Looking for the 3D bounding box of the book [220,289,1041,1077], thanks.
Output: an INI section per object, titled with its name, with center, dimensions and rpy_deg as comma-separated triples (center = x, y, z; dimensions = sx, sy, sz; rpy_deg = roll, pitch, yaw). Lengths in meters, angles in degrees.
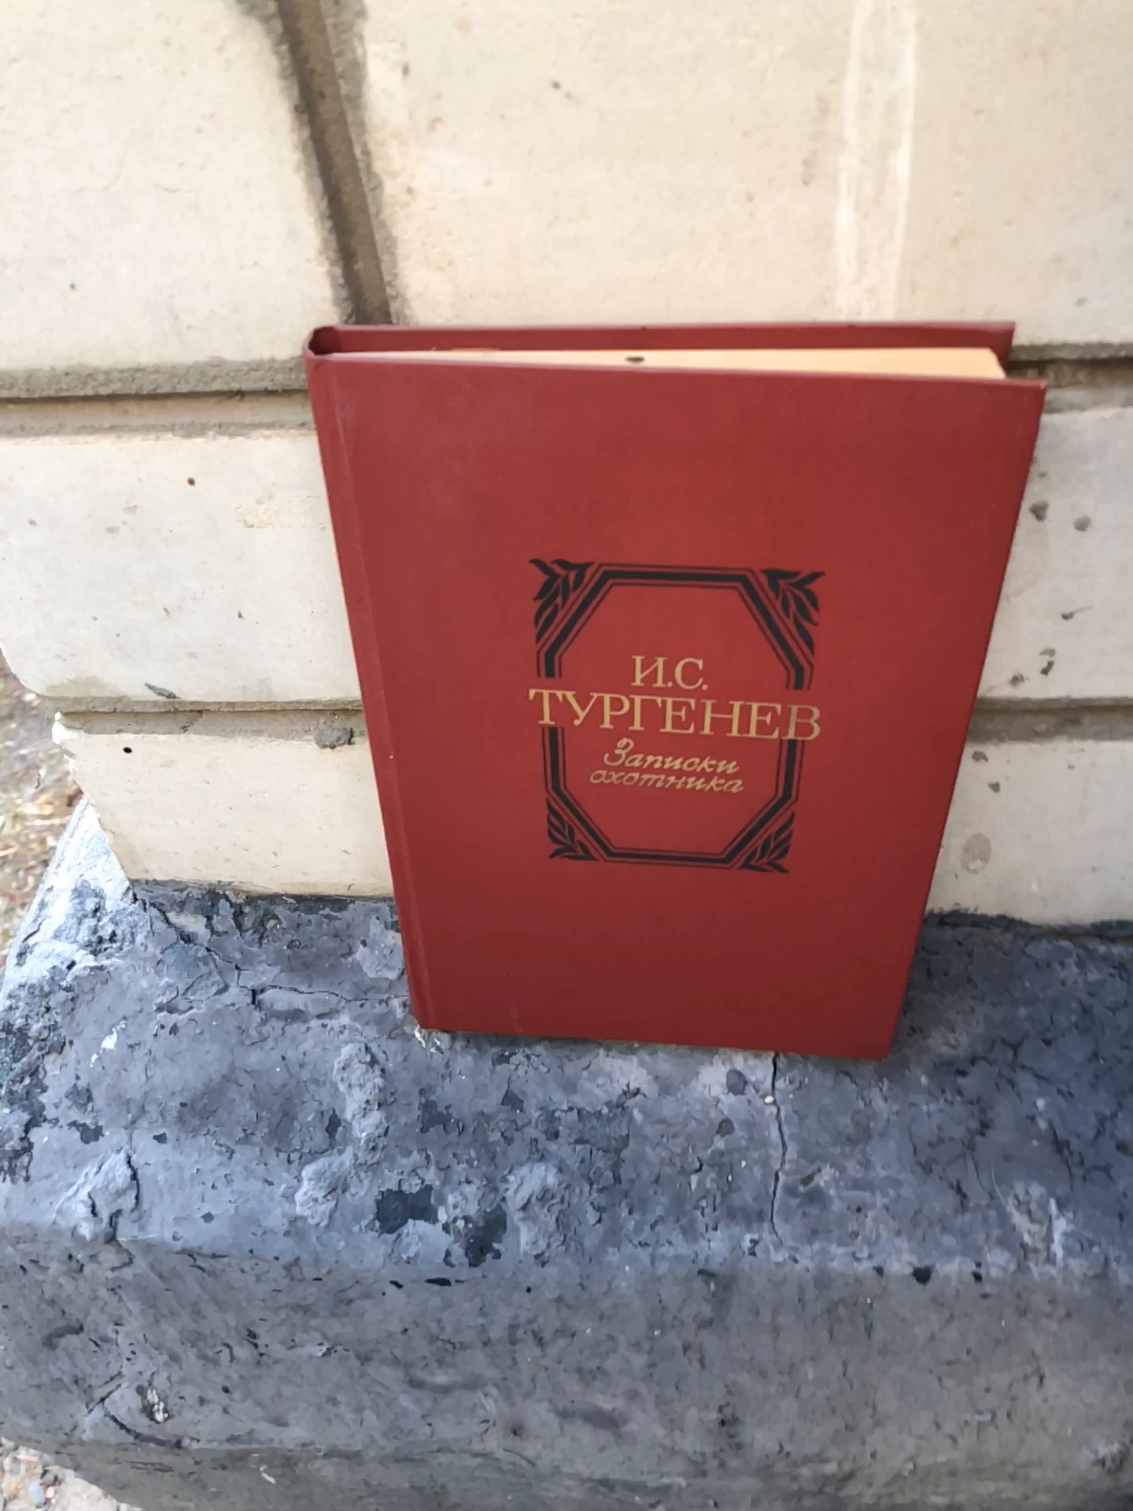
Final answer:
[book]
center = 0.017, -0.002, 0.298
dimensions = 0.147, 0.205, 0.026
rpy_deg = 3, 40, 10
